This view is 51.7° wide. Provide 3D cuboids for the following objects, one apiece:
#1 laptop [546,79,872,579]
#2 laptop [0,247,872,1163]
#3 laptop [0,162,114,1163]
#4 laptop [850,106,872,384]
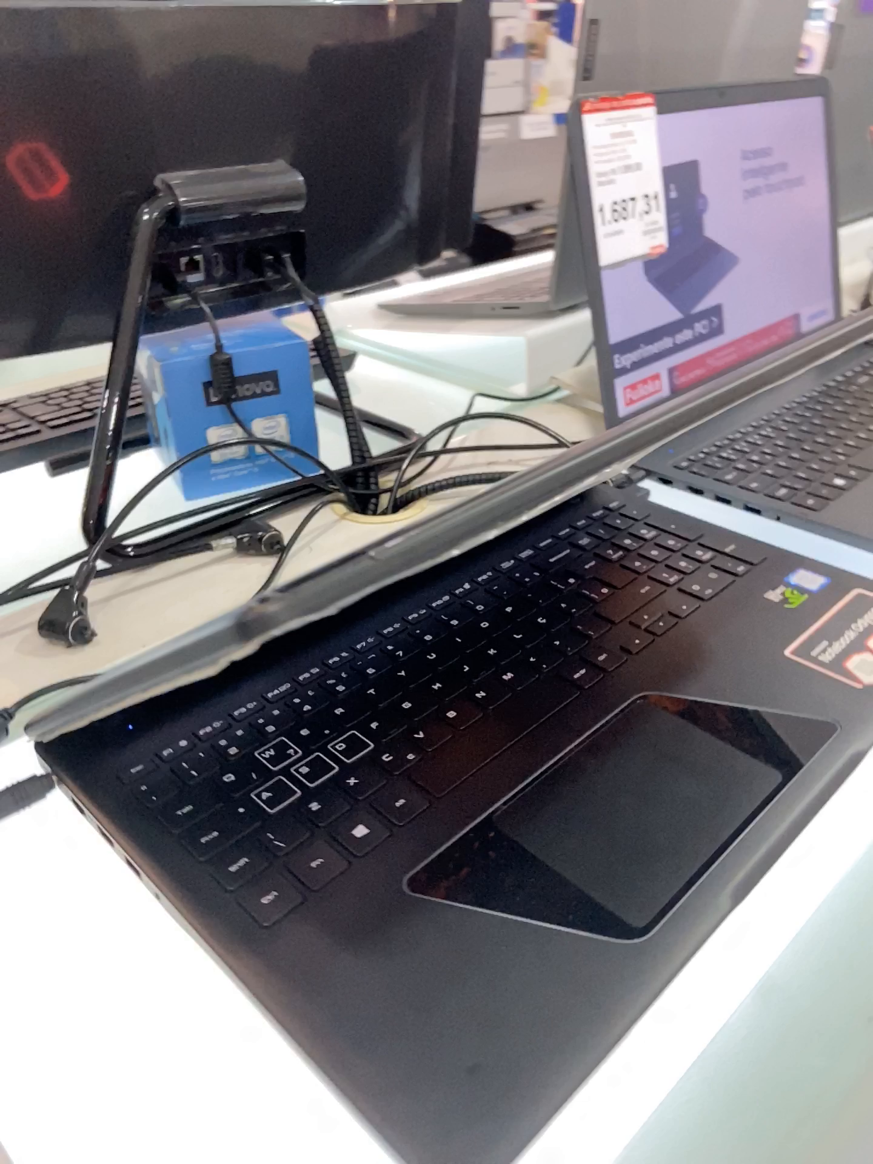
[{"bbox_3d":[0.330,-0.229,0.653,0.308,0.234,0.414,25,38,38],"label":"laptop"},{"bbox_3d":[0.043,-0.023,0.382,0.369,0.152,0.259,-27,38,-36],"label":"laptop"},{"bbox_3d":[-0.345,0.108,0.113,0.432,0.223,0.345,-29,40,-36],"label":"laptop"},{"bbox_3d":[0.680,-0.381,0.964,0.299,0.202,0.308,24,40,37],"label":"laptop"}]
